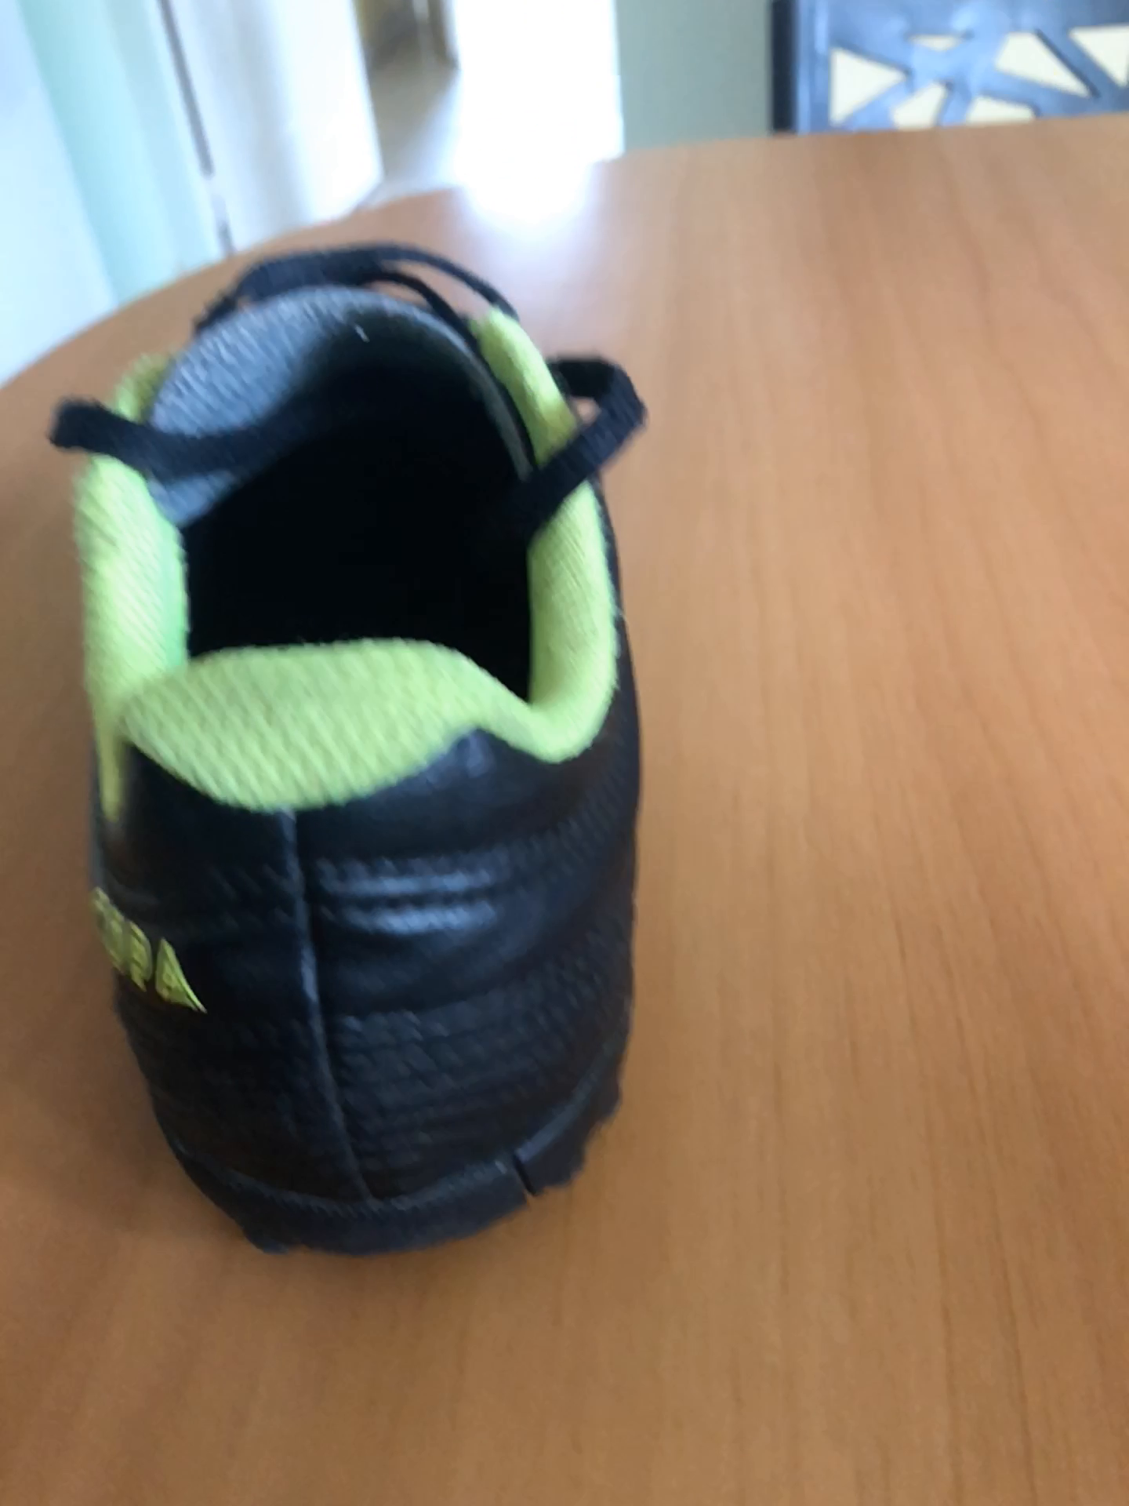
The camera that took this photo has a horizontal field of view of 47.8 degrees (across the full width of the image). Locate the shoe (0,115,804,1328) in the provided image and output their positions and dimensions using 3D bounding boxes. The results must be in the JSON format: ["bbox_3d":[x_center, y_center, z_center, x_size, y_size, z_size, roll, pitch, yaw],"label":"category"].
[{"bbox_3d":[-0.026,-0.033,0.225,0.090,0.090,0.221,-6,39,1],"label":"shoe"}]
